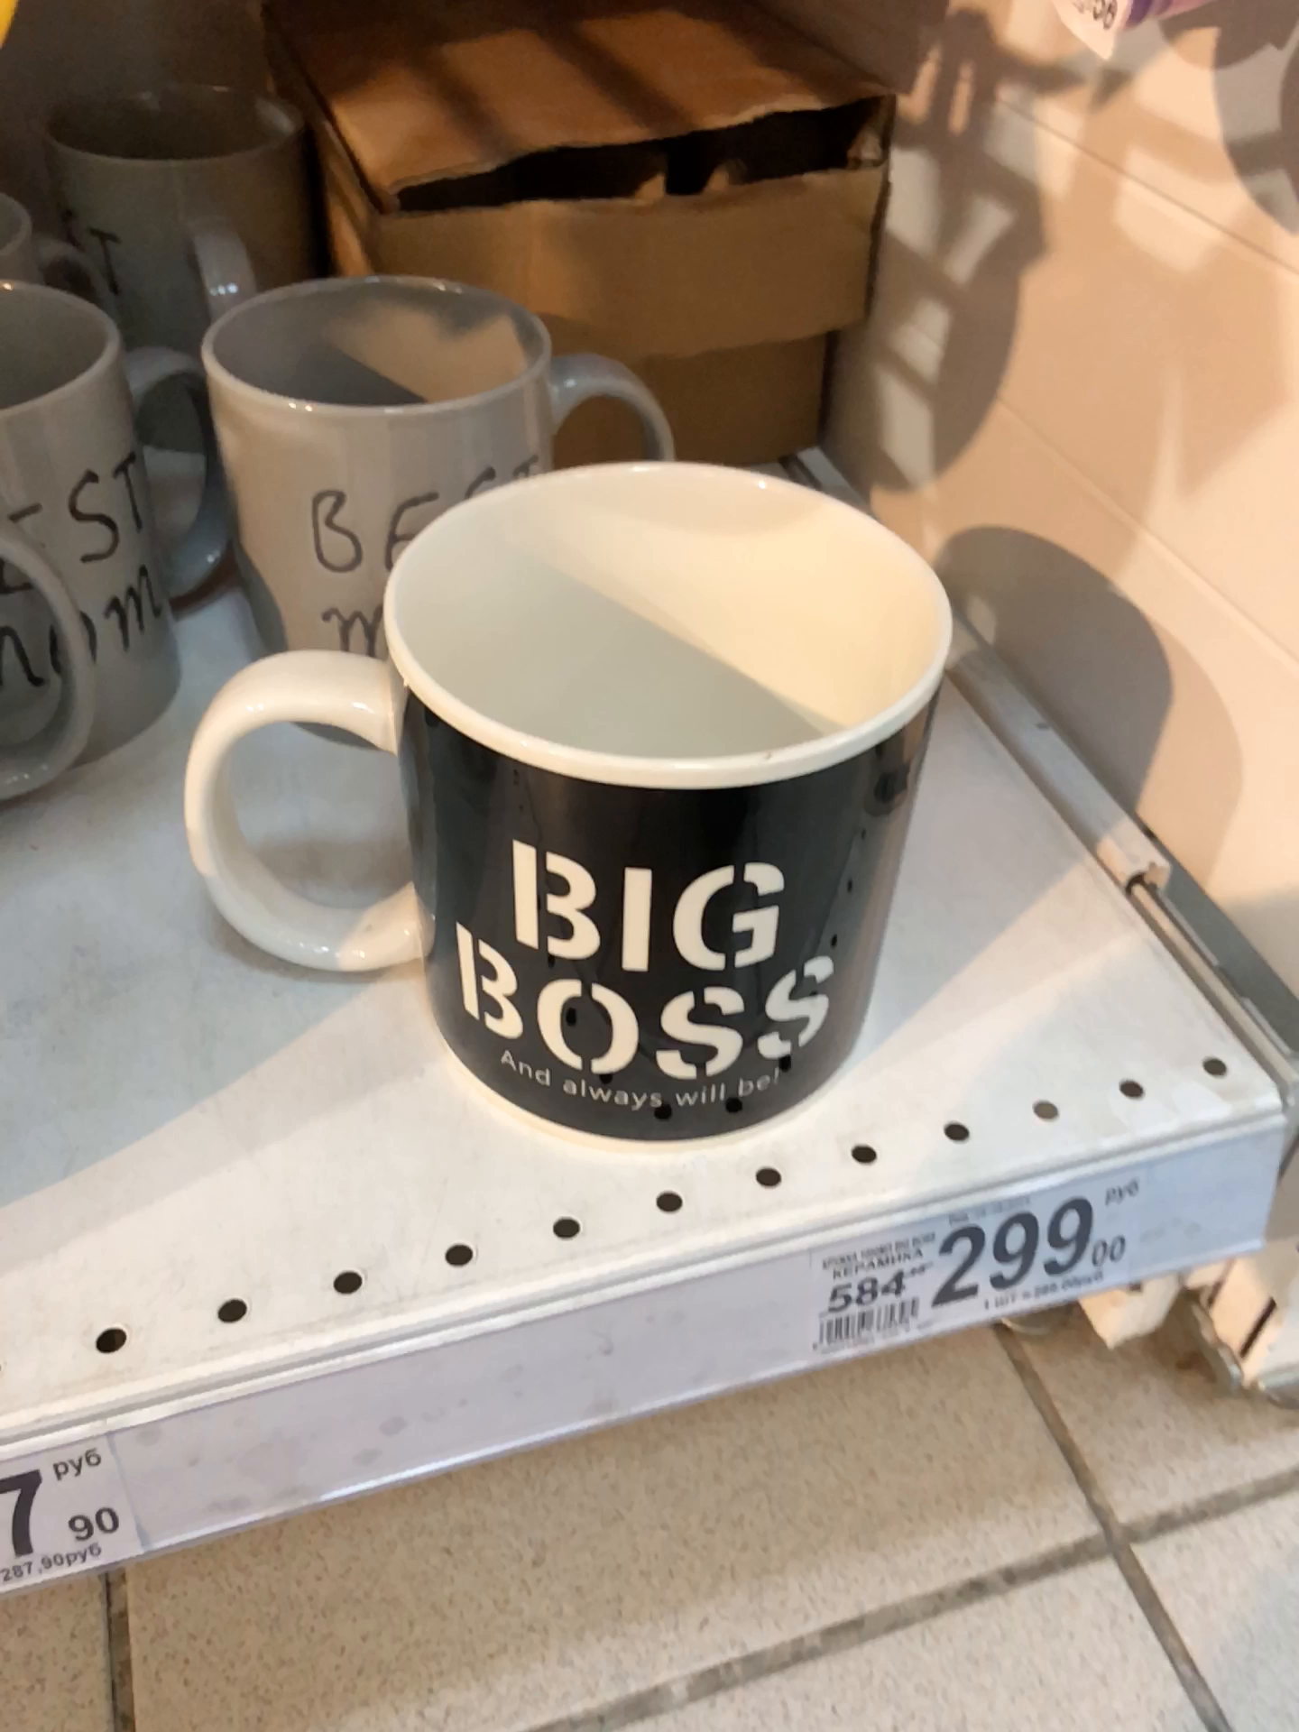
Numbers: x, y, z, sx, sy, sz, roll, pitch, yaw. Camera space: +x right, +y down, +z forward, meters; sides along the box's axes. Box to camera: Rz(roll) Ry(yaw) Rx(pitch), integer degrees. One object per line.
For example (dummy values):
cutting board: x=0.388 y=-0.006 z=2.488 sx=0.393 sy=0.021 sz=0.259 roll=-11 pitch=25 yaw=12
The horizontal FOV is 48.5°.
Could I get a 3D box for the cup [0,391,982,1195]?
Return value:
cup: x=-0.026 y=-0.022 z=0.357 sx=0.188 sy=0.122 sz=0.128 roll=8 pitch=42 yaw=5
